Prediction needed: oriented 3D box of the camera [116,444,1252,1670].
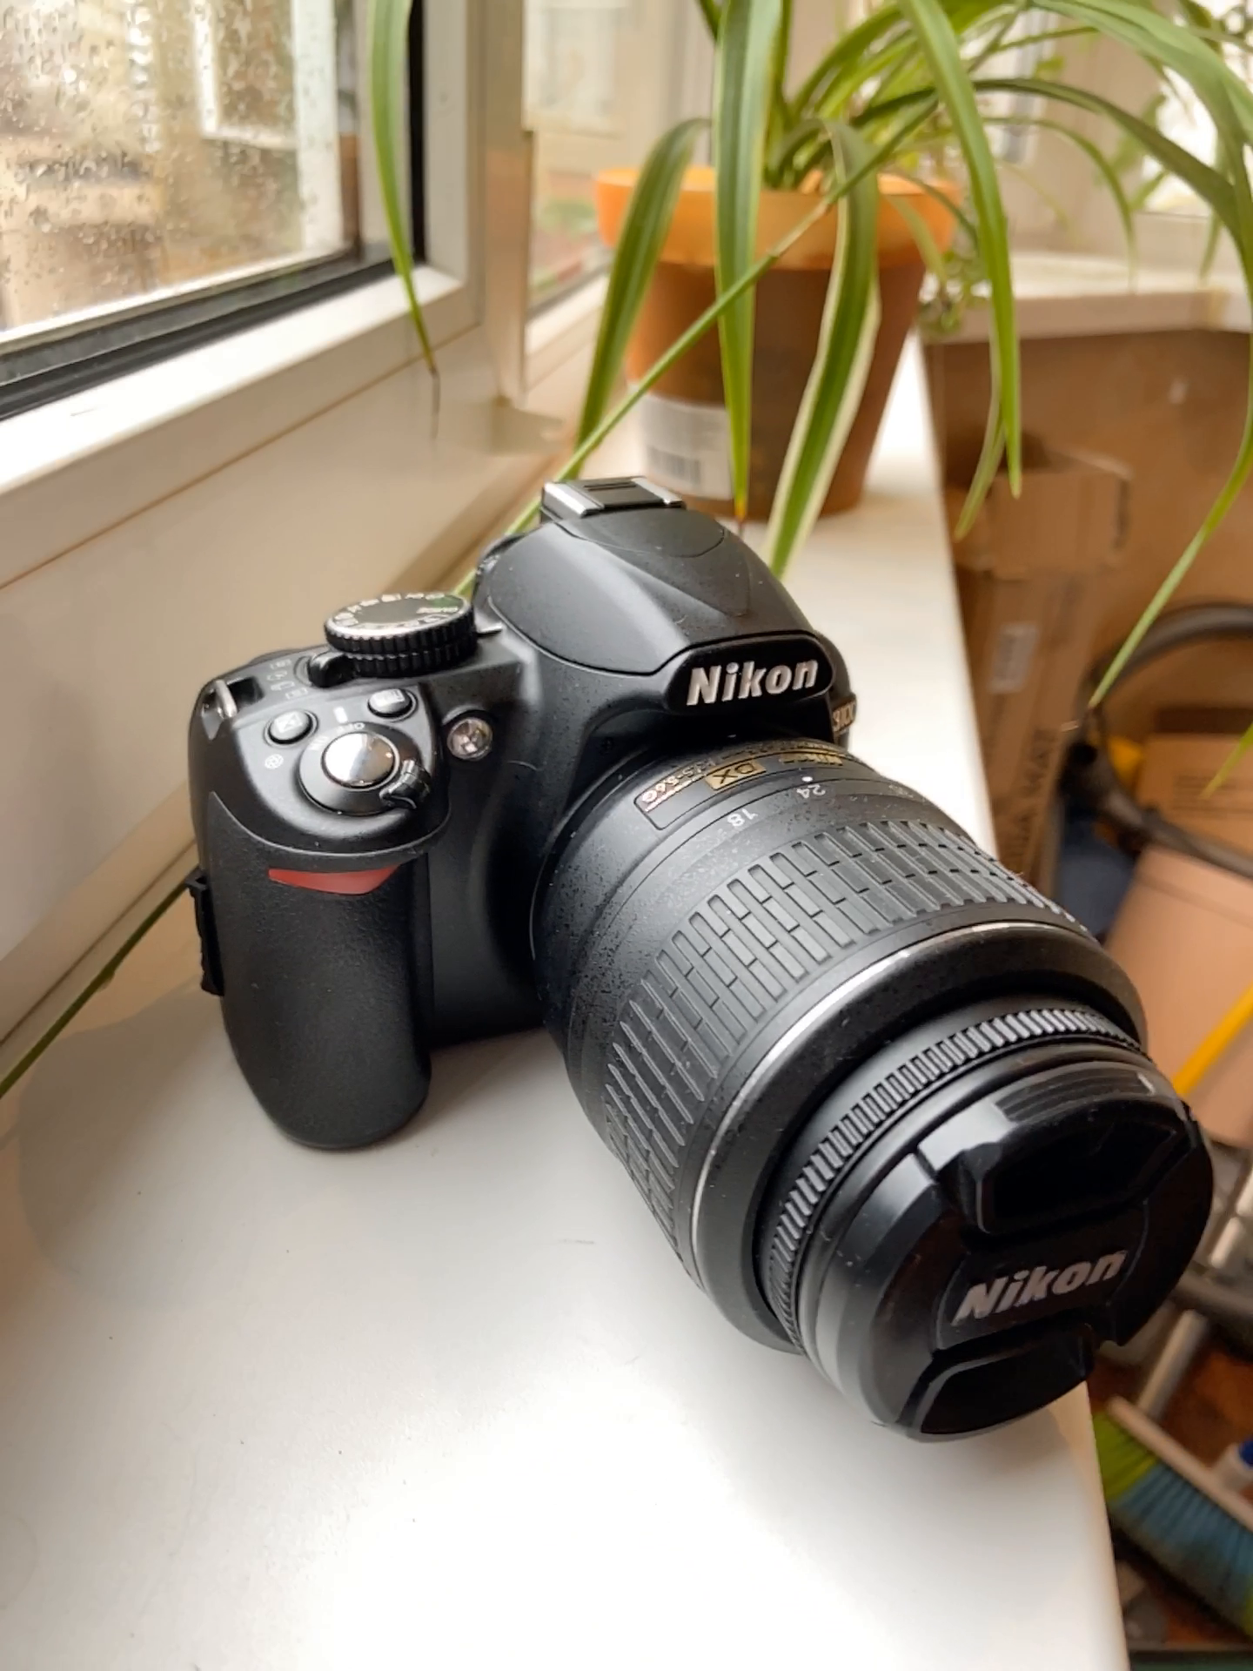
[{"bbox_3d":[0.001,0.007,0.205,0.124,0.091,0.155,-10,32,-23],"label":"camera"}]
